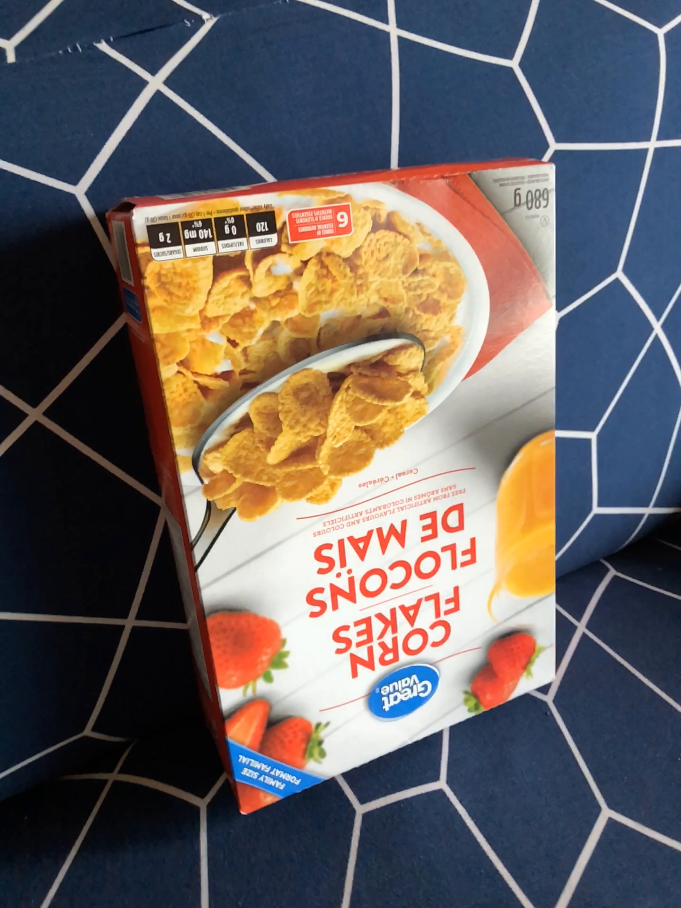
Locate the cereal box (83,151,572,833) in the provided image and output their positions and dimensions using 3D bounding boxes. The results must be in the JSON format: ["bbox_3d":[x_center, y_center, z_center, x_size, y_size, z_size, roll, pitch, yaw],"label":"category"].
[{"bbox_3d":[0.007,0.012,0.430,0.220,0.319,0.100,-14,19,-20],"label":"cereal box"}]
